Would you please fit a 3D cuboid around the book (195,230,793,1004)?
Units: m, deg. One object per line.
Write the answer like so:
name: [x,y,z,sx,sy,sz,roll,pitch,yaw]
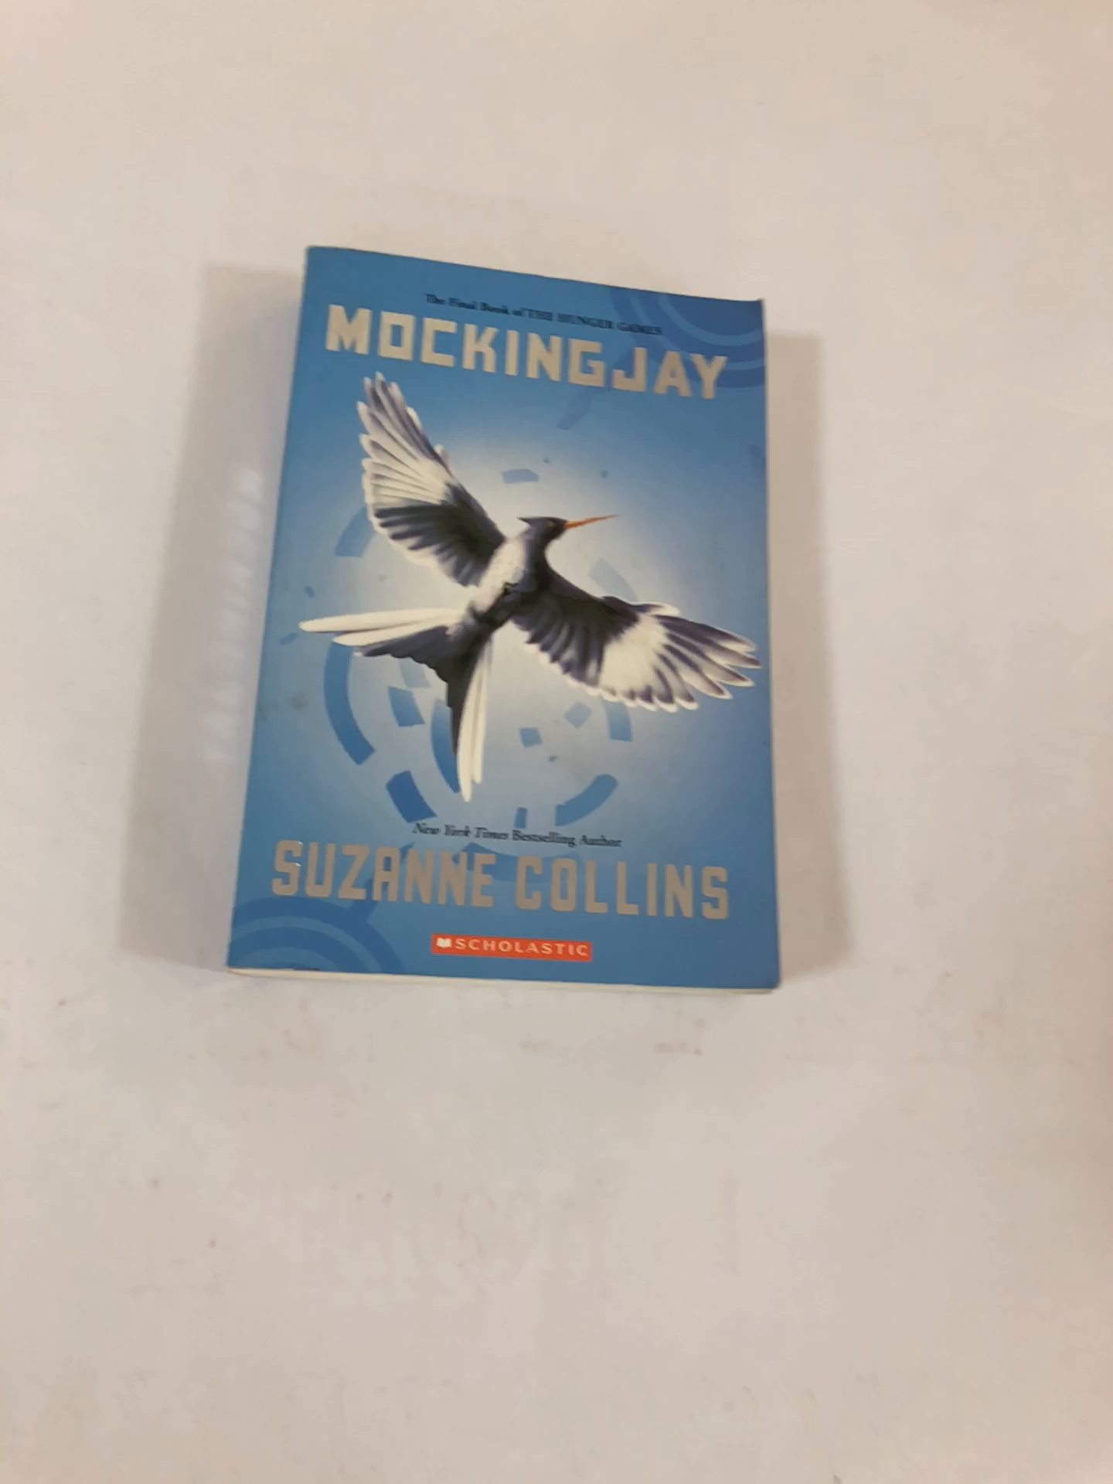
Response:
book: [-0.011,-0.033,0.323,0.138,0.029,0.190,5,74,-10]
